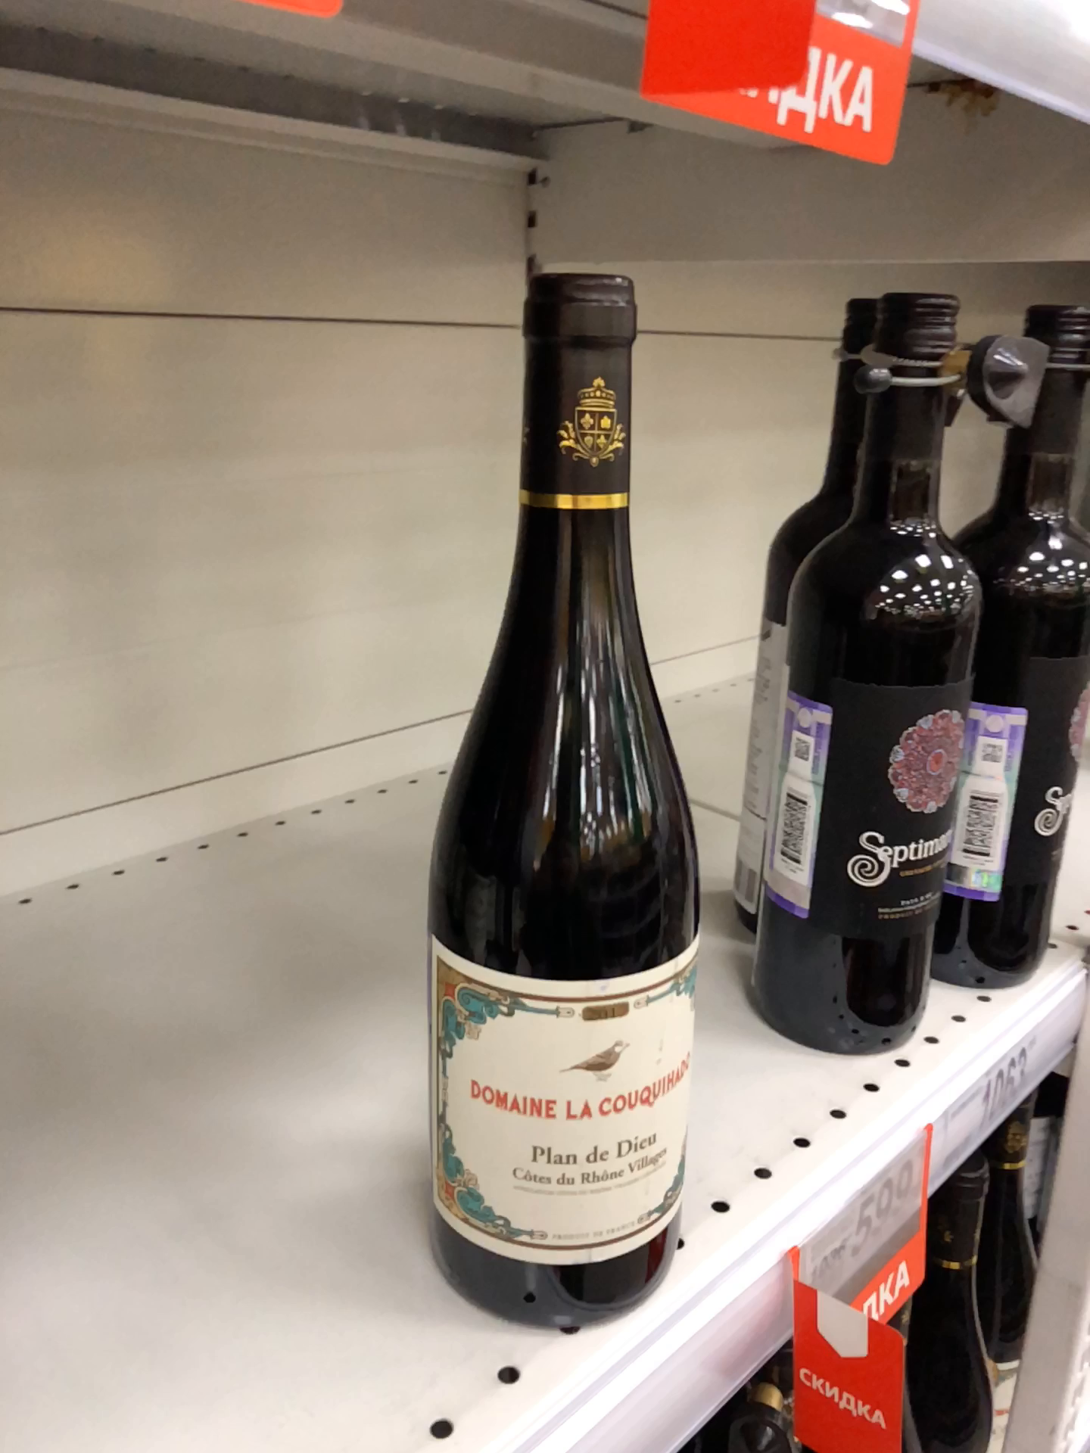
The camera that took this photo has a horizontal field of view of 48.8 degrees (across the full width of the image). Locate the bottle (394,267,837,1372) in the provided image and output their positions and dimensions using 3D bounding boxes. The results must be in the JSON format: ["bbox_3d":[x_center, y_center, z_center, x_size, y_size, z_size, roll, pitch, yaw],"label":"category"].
[{"bbox_3d":[0.009,0.029,0.356,0.090,0.301,0.080,-4,19,-20],"label":"bottle"}]
